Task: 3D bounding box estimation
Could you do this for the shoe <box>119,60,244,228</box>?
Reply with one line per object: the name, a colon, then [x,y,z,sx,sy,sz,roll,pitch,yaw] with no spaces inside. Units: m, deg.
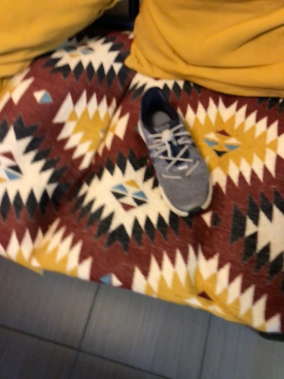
shoe: [0.045,-0.068,0.441,0.094,0.074,0.212,-17,66,-5]
